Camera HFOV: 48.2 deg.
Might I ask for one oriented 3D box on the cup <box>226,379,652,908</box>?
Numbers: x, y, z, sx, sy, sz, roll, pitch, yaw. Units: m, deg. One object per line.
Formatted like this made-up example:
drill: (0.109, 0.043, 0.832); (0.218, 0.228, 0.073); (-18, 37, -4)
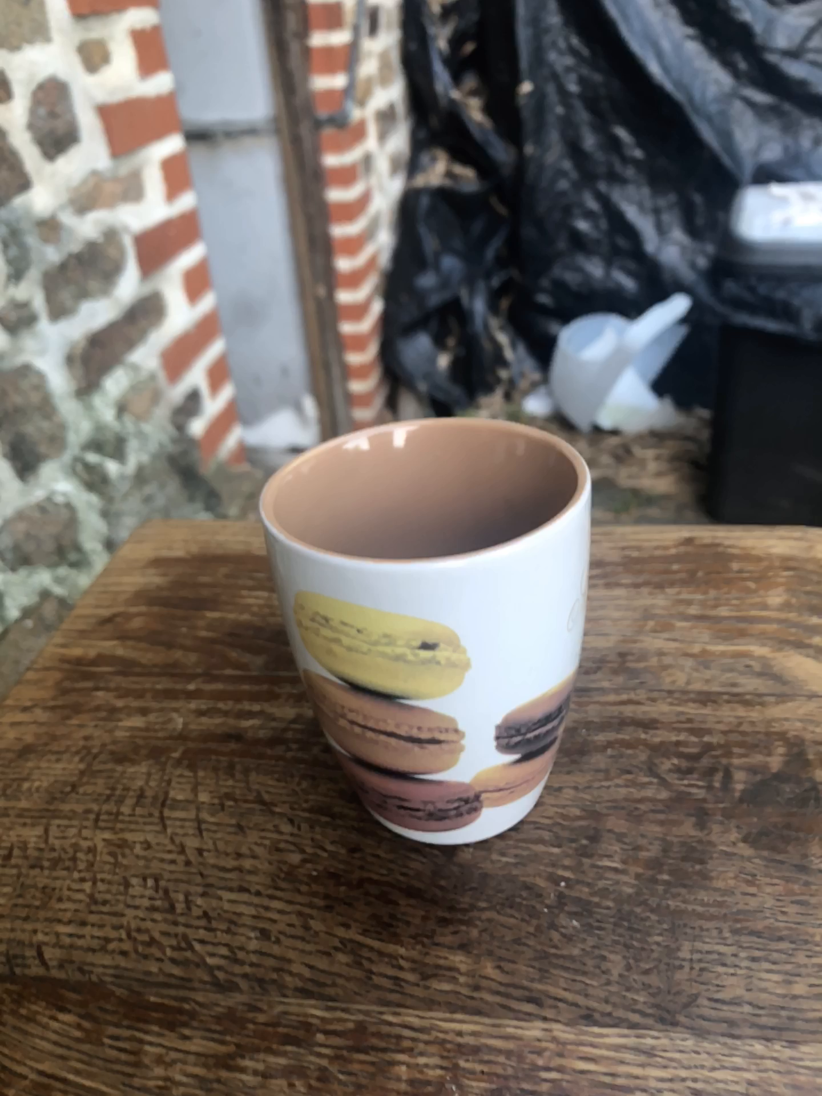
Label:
cup: (0.003, 0.019, 0.275); (0.093, 0.090, 0.124); (-7, 31, -4)
